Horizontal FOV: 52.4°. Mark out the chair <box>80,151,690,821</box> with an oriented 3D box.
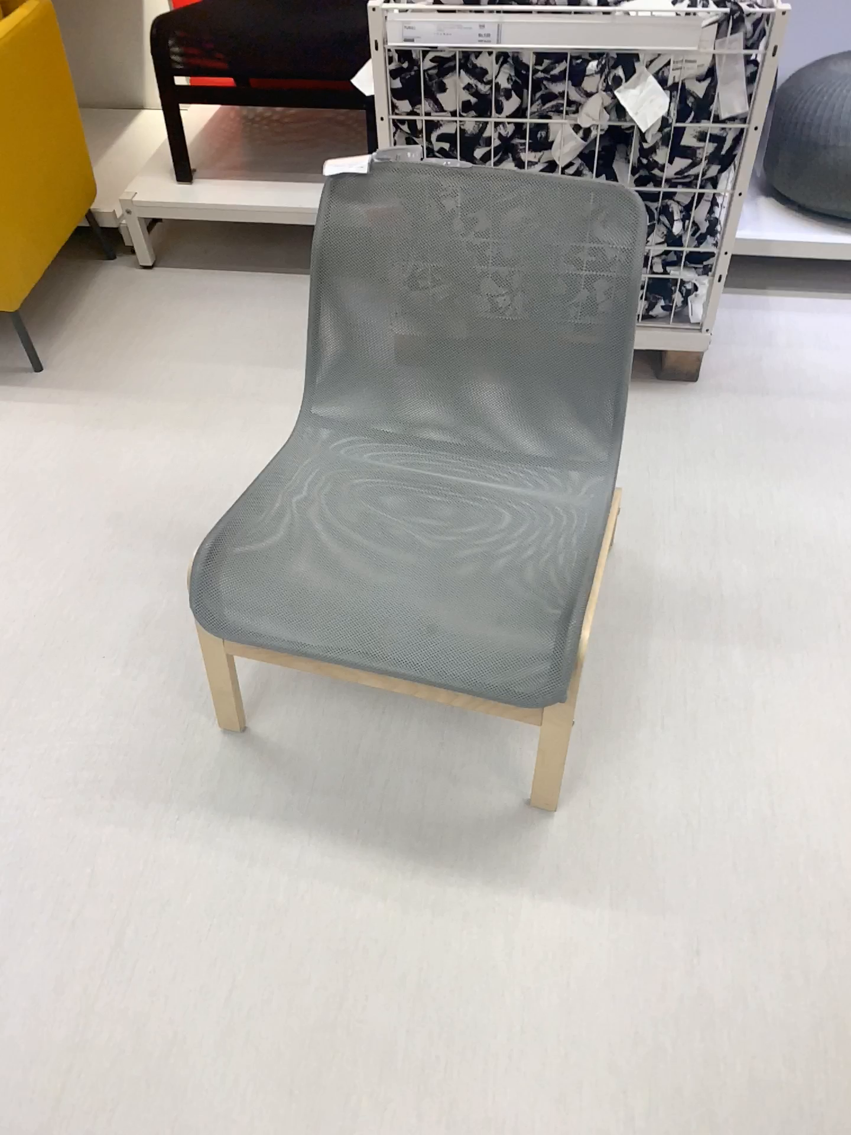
[{"bbox_3d":[0.016,-0.152,1.445,0.630,0.697,0.752,11,50,13],"label":"chair"}]
